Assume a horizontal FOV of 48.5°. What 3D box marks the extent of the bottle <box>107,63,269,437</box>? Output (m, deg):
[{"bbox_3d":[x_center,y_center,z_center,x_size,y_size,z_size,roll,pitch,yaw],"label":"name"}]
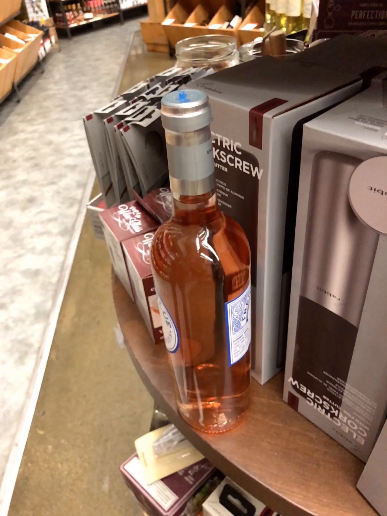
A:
[{"bbox_3d":[0.009,0.019,0.330,0.080,0.289,0.078,-5,37,4],"label":"bottle"}]
